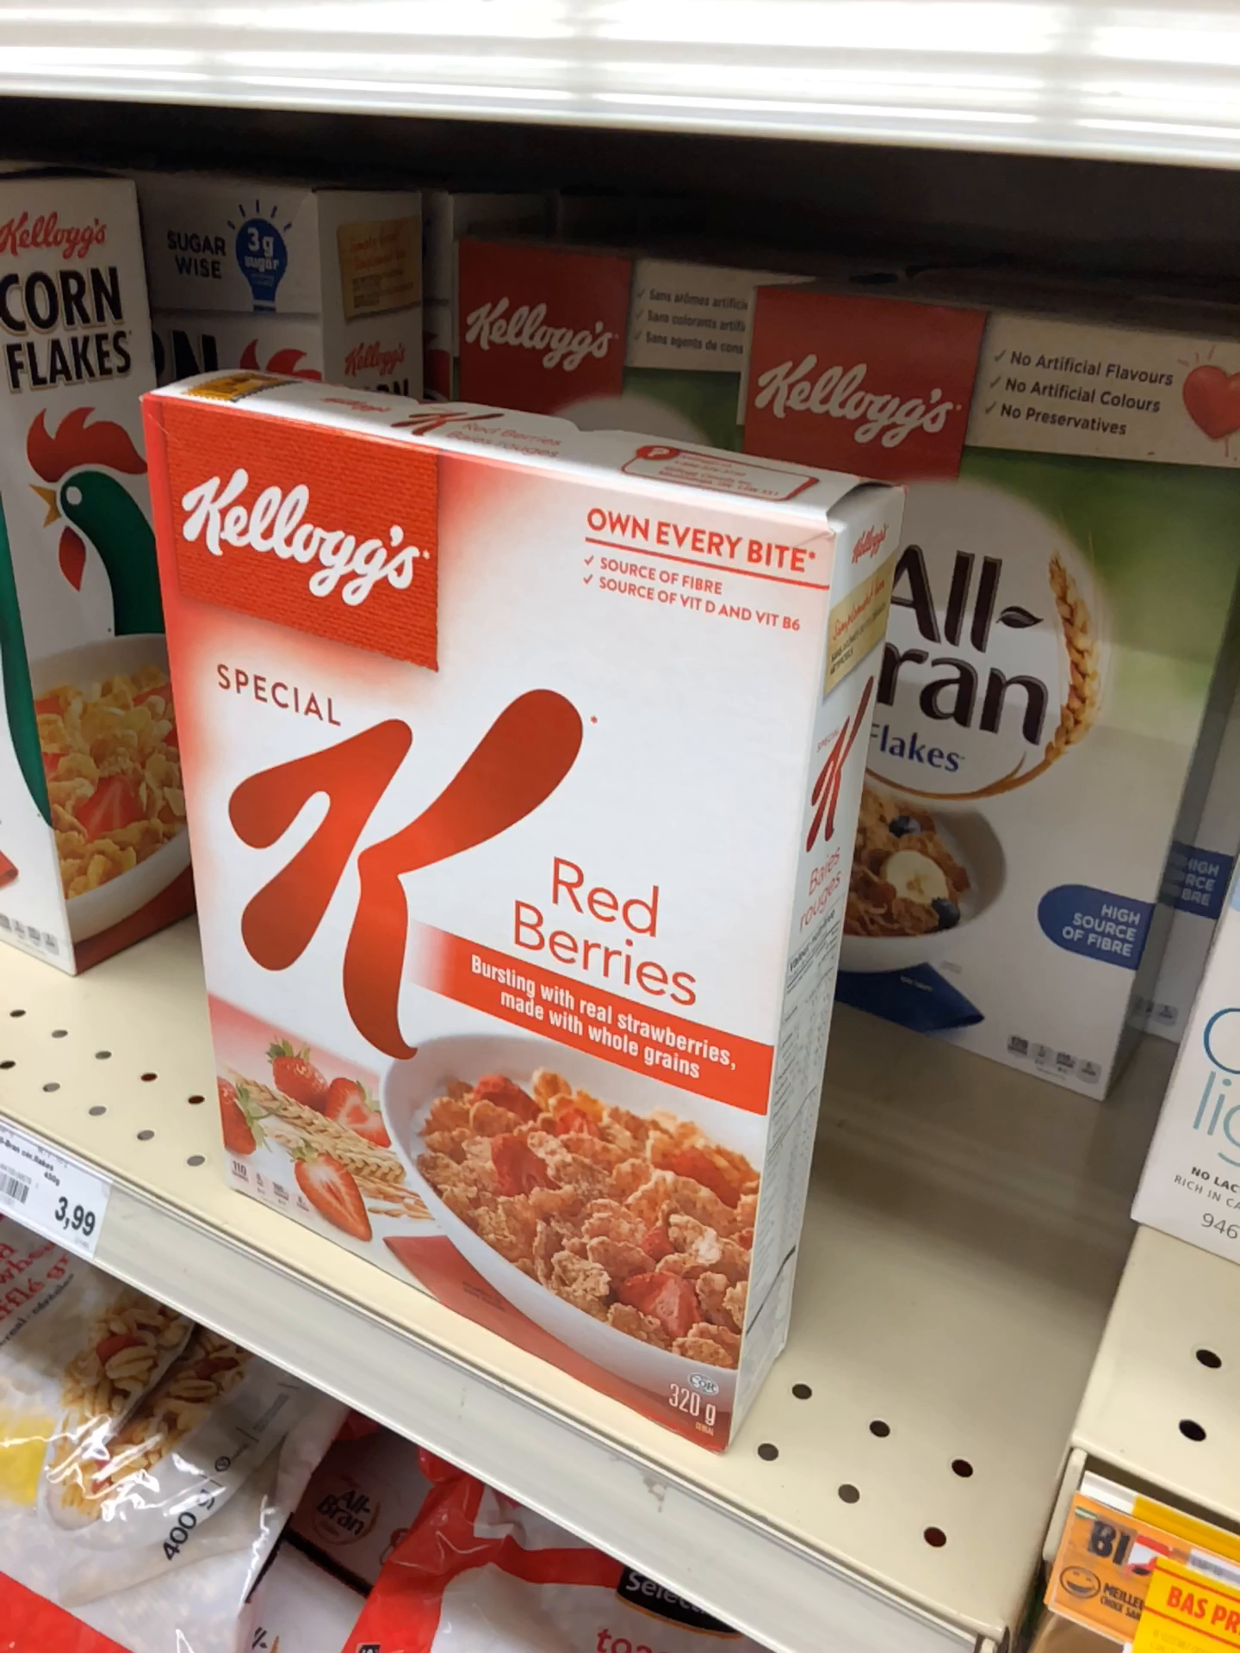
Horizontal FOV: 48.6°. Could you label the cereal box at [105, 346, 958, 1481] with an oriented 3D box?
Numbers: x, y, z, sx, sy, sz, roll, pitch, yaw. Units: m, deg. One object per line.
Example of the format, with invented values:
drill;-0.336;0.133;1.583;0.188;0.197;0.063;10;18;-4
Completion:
cereal box;-0.034;0.023;0.397;0.210;0.278;0.060;18;32;27
